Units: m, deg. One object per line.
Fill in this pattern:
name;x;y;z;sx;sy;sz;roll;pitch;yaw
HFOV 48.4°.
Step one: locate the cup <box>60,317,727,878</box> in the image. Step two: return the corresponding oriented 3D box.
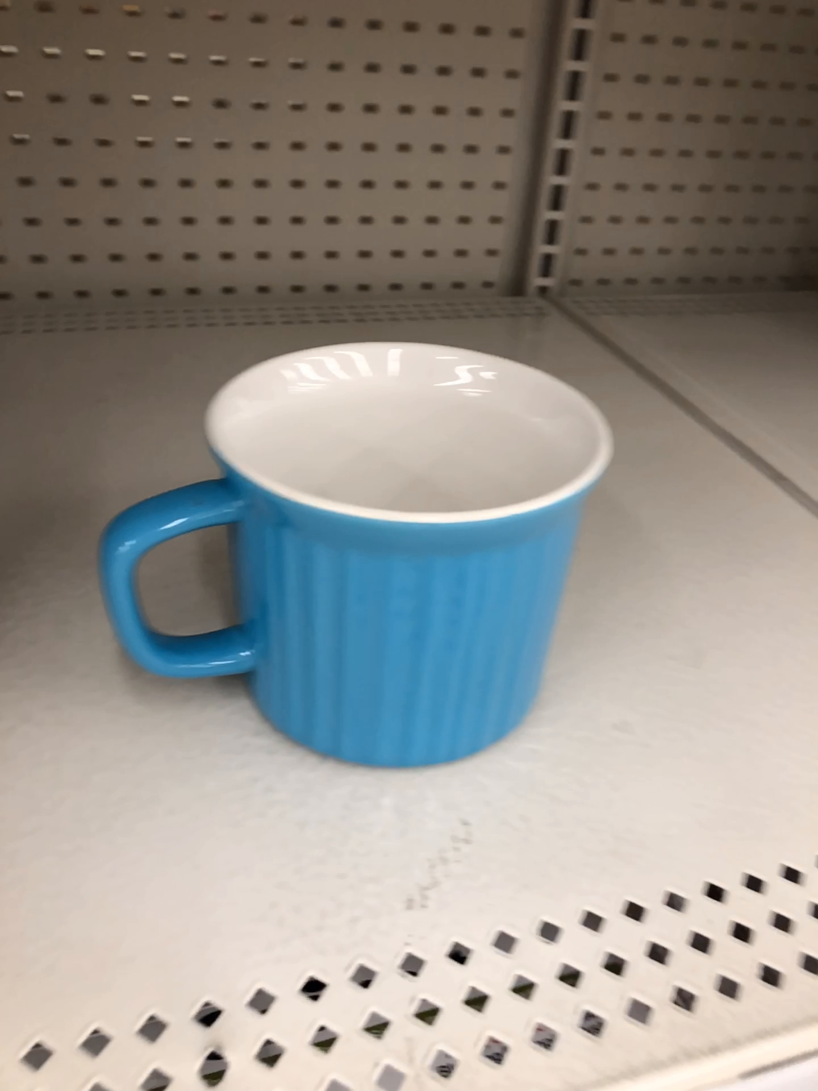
cup;-0.011;0.000;0.298;0.161;0.093;0.126;-14;37;-26
